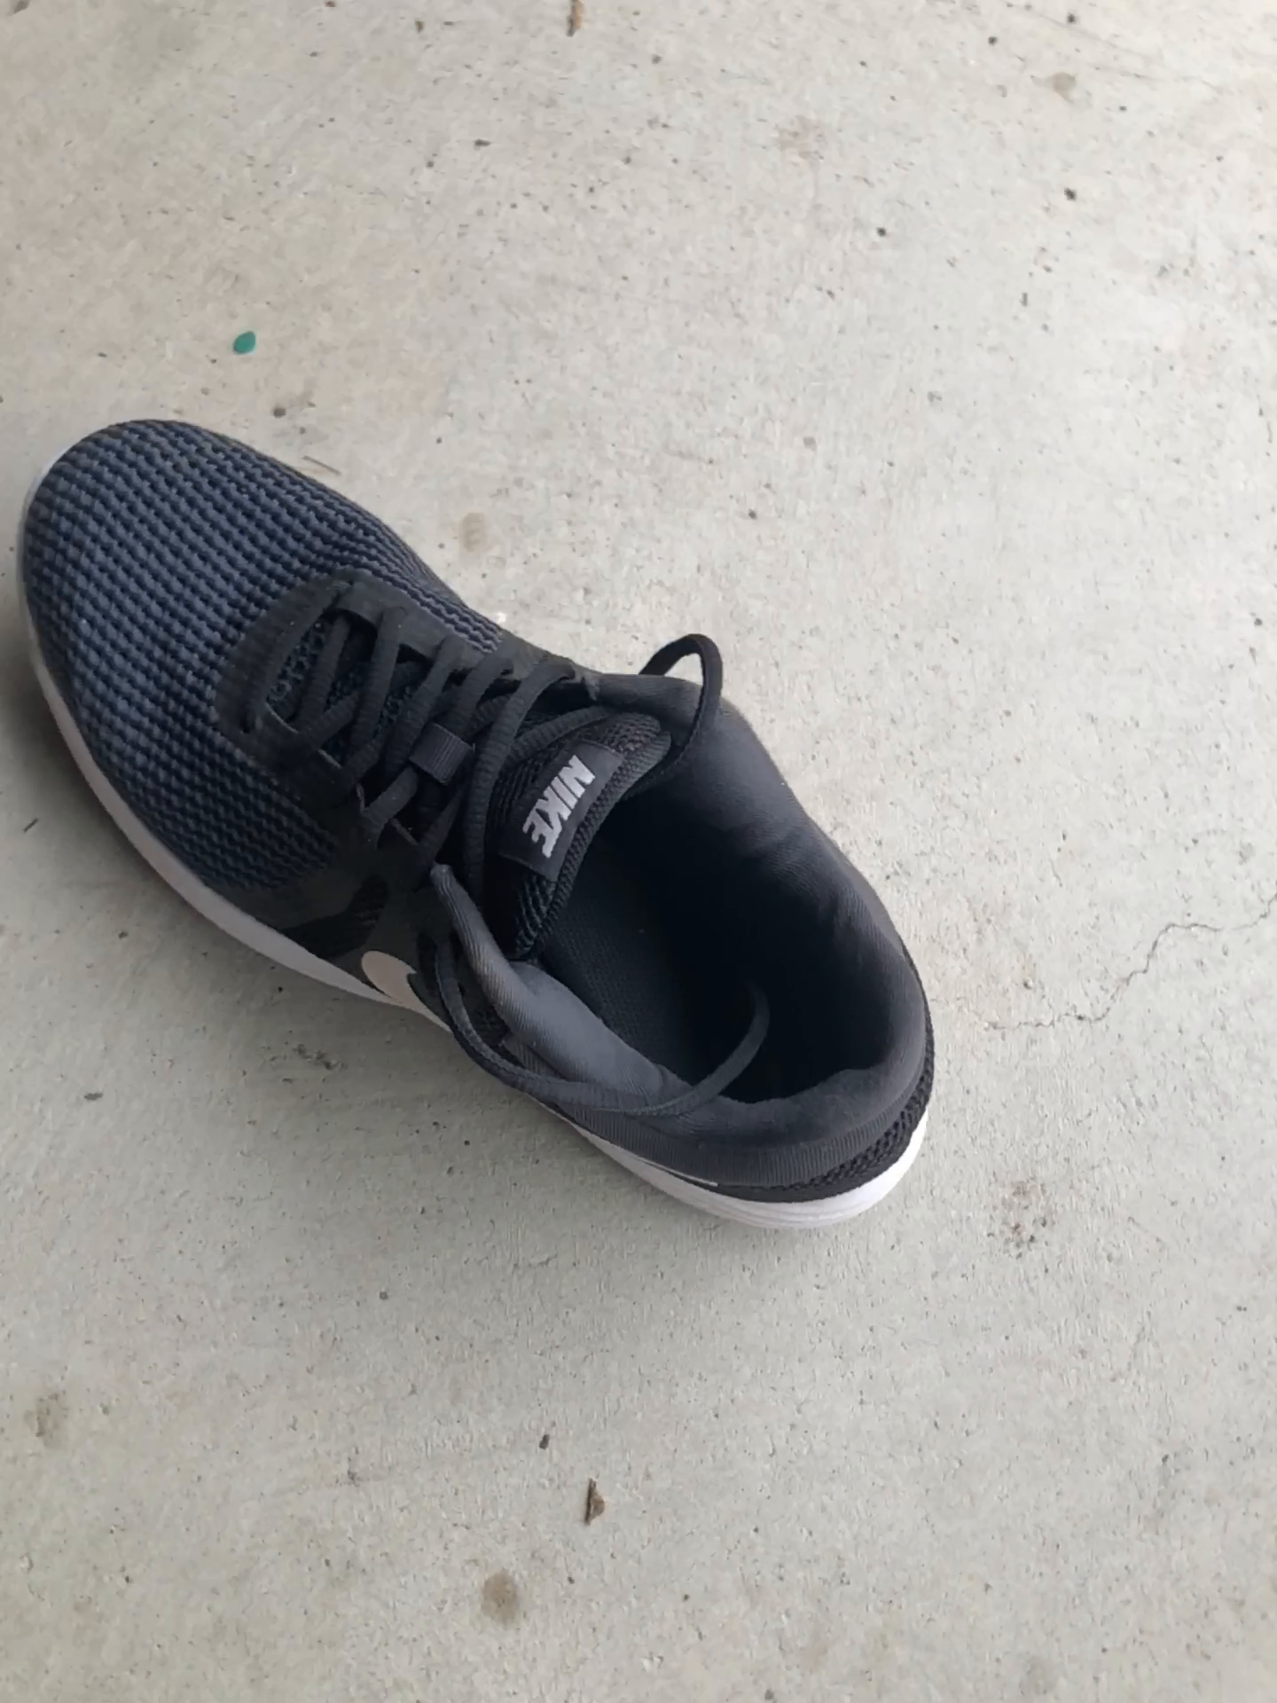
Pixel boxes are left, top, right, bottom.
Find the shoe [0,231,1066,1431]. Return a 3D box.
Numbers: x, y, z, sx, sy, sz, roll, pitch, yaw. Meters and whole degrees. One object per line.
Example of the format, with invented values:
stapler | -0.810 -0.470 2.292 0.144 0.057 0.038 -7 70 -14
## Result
shoe | -0.059 -0.003 0.371 0.290 0.100 0.130 37 77 2
